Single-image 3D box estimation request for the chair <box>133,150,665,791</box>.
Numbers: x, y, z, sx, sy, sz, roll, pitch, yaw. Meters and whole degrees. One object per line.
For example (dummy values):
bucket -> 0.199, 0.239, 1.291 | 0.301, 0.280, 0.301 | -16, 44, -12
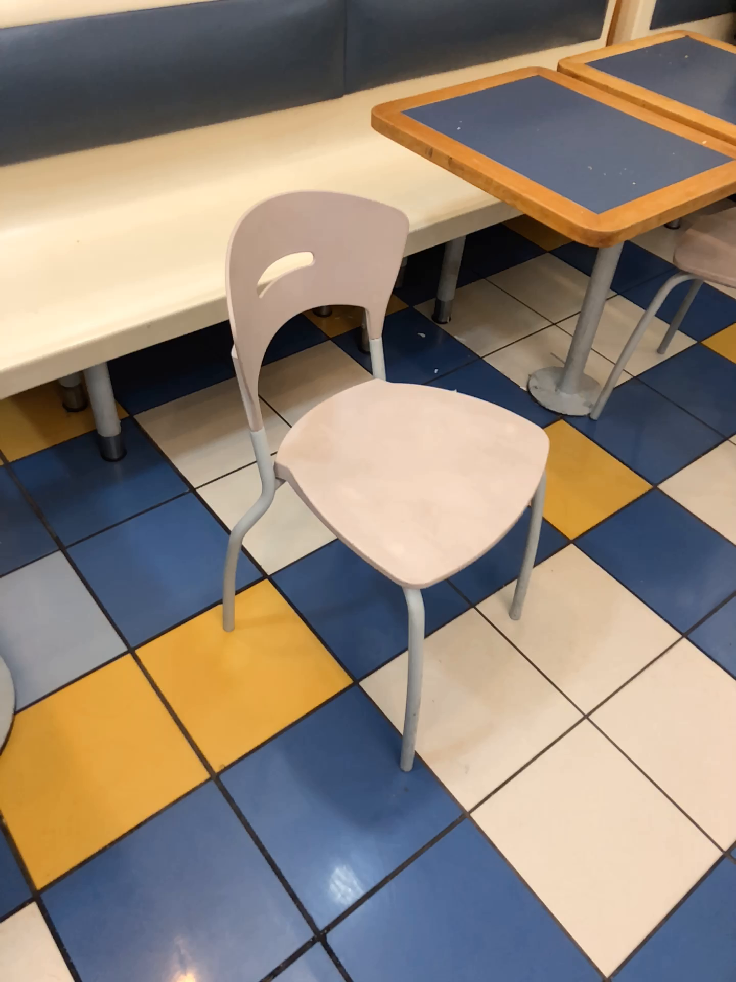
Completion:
chair -> 0.026, -0.013, 1.280 | 0.511, 0.774, 0.442 | 29, 50, 22
